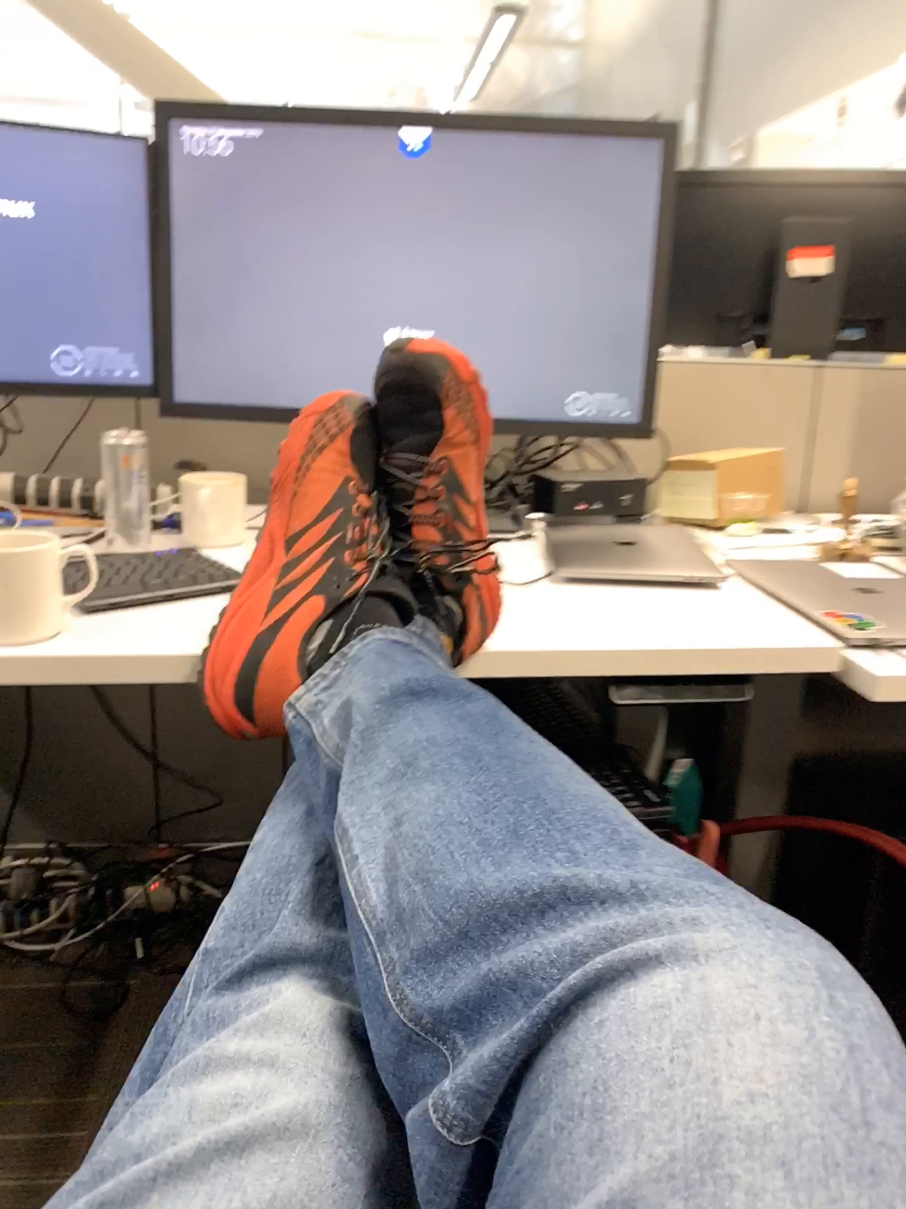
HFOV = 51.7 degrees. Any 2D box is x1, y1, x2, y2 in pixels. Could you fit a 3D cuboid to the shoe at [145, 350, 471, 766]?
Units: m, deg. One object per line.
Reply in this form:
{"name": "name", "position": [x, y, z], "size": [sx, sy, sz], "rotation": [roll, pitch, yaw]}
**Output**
{"name": "shoe", "position": [-0.101, -0.042, 0.708], "size": [0.133, 0.290, 0.091], "rotation": [8, -18, 27]}

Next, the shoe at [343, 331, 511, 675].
{"name": "shoe", "position": [-0.017, -0.088, 0.794], "size": [0.107, 0.271, 0.083], "rotation": [6, 18, 23]}
